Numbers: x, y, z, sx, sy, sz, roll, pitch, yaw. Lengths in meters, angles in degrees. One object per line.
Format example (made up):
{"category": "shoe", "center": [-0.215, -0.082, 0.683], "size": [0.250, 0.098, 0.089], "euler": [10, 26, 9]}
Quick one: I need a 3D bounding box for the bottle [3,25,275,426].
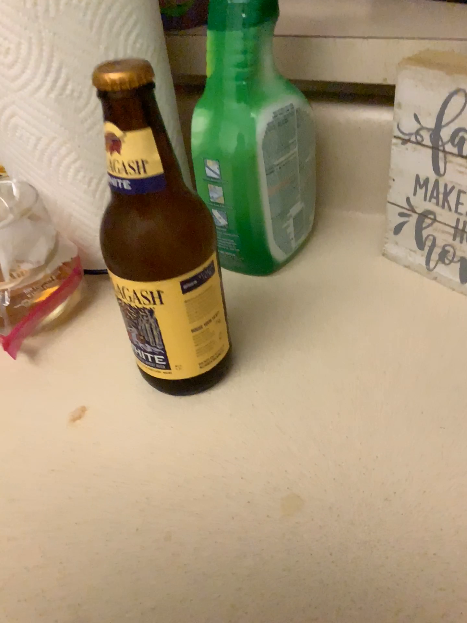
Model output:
{"category": "bottle", "center": [-0.038, -0.042, 0.289], "size": [0.080, 0.190, 0.080], "euler": [-4, 38, 3]}
